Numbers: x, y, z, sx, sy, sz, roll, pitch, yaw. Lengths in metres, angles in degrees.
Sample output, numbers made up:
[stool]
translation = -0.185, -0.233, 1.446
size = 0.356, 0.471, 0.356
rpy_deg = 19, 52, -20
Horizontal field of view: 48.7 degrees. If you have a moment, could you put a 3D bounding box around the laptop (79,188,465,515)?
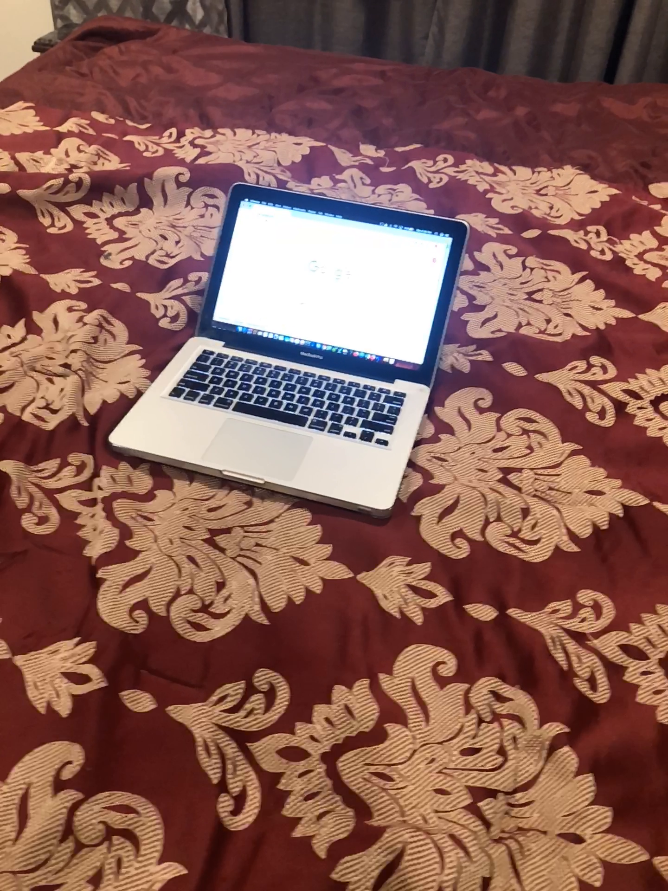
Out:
[laptop]
translation = -0.038, -0.125, 0.796
size = 0.292, 0.133, 0.344
rpy_deg = 13, 43, 10
